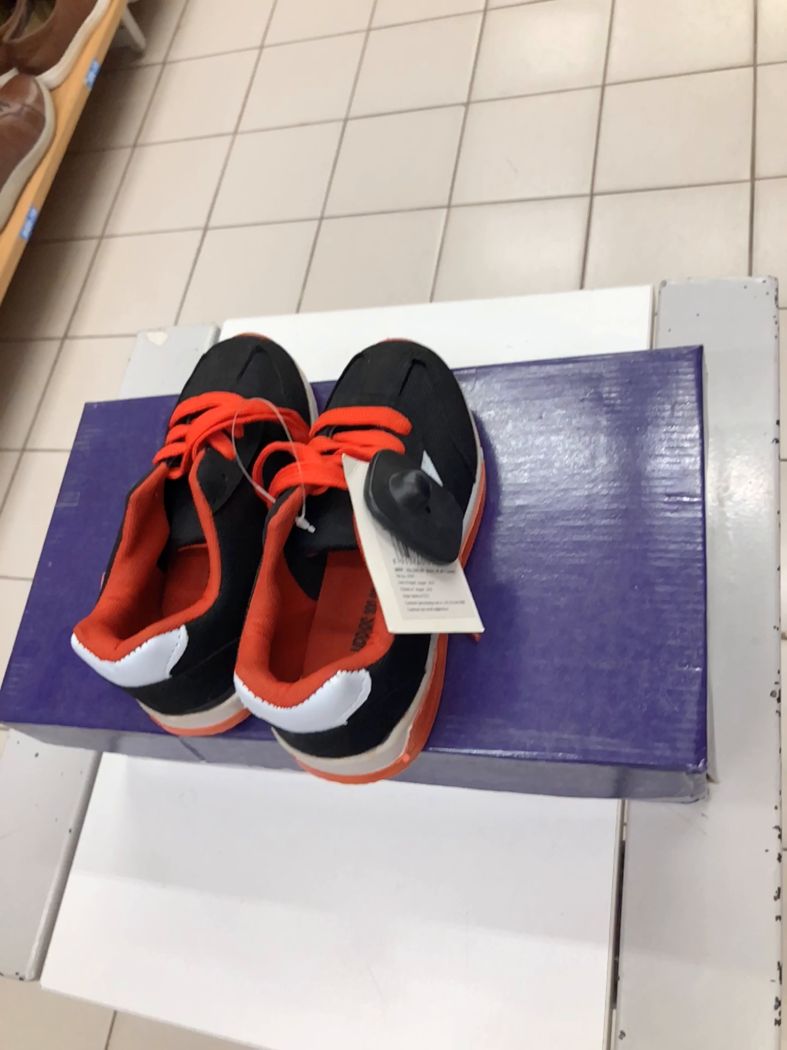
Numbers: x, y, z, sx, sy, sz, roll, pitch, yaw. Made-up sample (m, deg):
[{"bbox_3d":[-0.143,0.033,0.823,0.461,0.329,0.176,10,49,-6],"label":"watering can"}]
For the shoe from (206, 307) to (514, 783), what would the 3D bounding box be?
[{"bbox_3d":[-0.003,0.011,0.371,0.080,0.100,0.170,0,66,19],"label":"shoe"}]

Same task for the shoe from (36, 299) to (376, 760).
[{"bbox_3d":[-0.073,0.004,0.401,0.080,0.100,0.180,0,66,19],"label":"shoe"}]
